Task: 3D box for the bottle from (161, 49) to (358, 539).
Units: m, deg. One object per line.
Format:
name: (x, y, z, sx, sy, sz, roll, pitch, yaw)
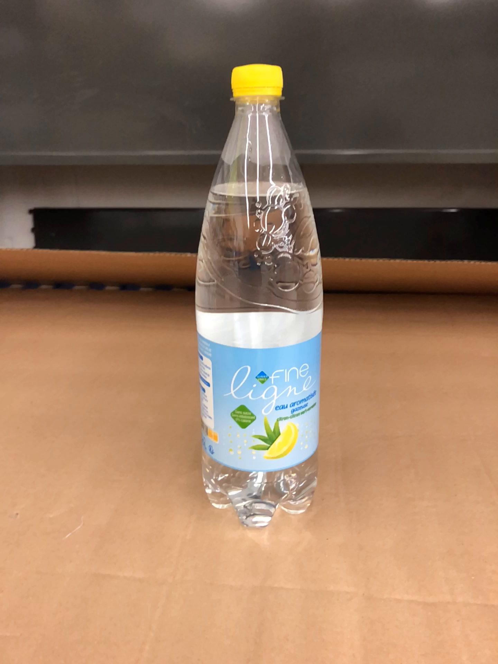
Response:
bottle: (0.004, -0.018, 0.358, 0.090, 0.289, 0.080, -7, 22, -15)
